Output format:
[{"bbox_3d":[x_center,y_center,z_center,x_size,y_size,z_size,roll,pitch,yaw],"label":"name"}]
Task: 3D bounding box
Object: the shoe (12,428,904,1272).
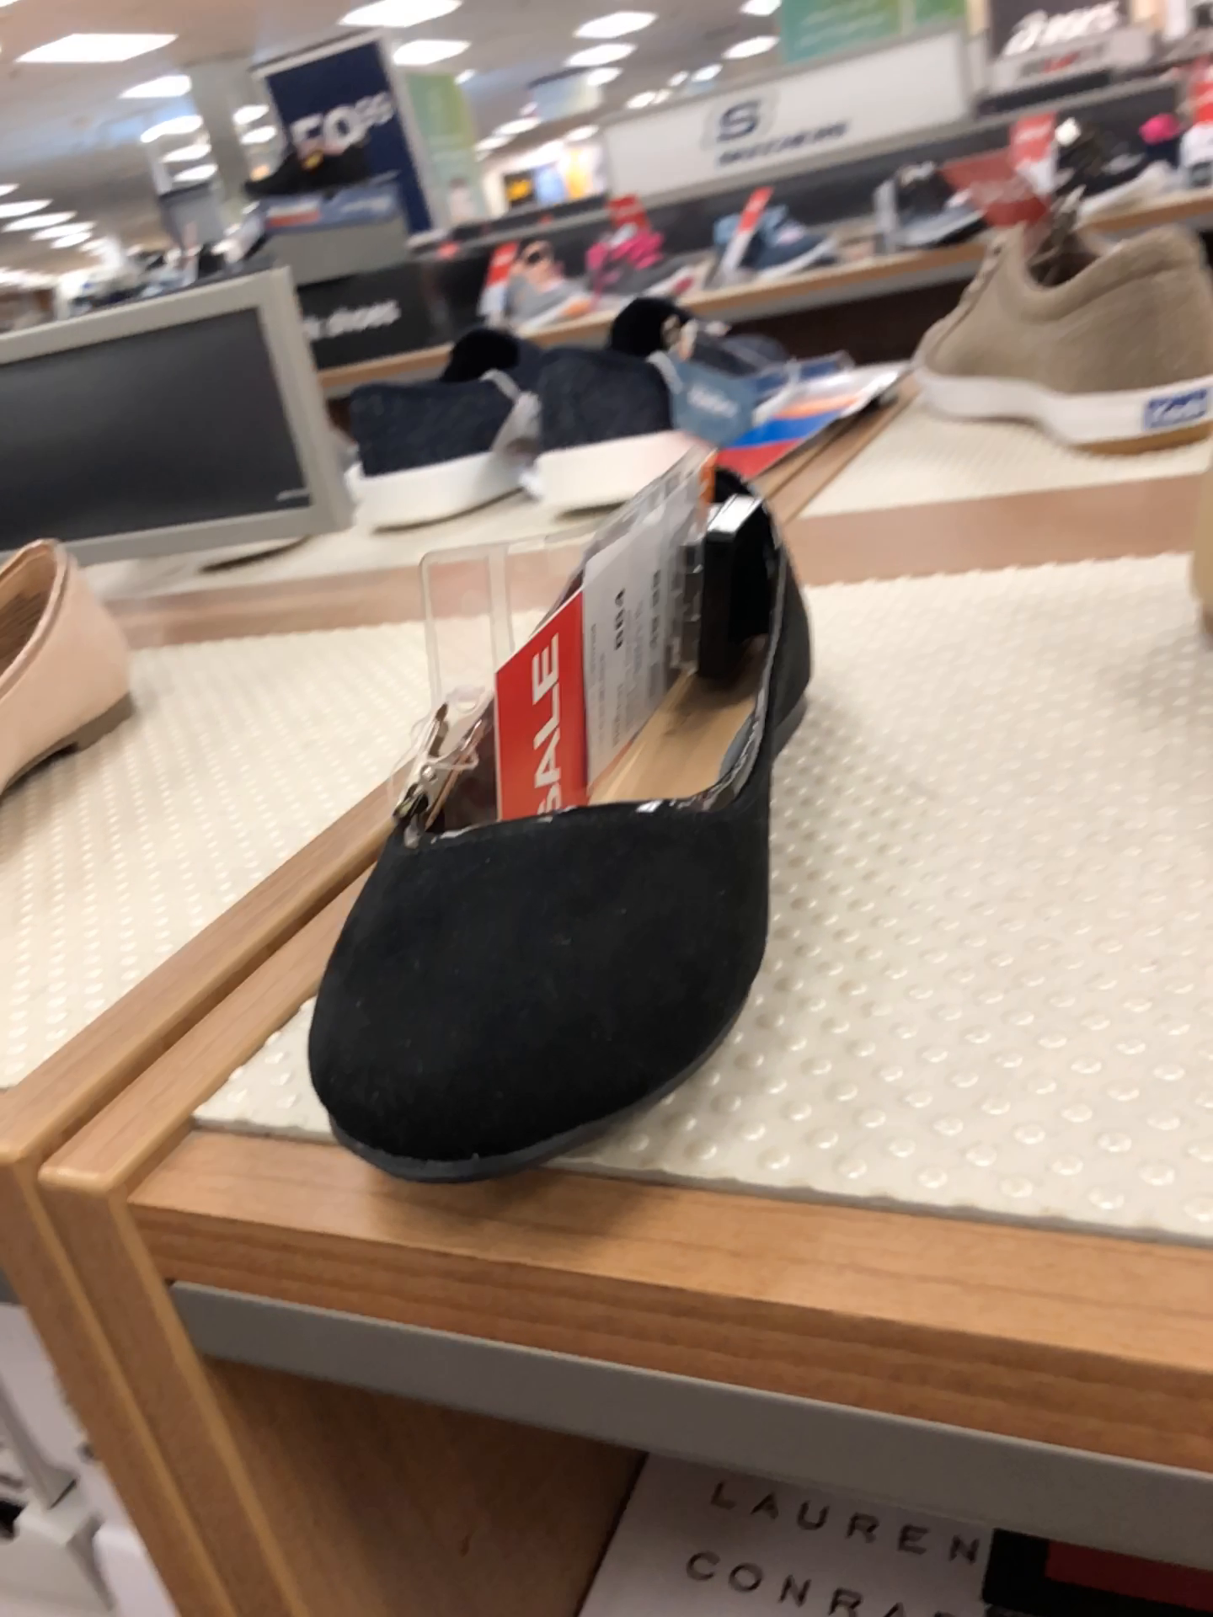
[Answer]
[{"bbox_3d":[0.002,-0.017,0.283,0.091,0.064,0.239,-5,24,20],"label":"shoe"}]
